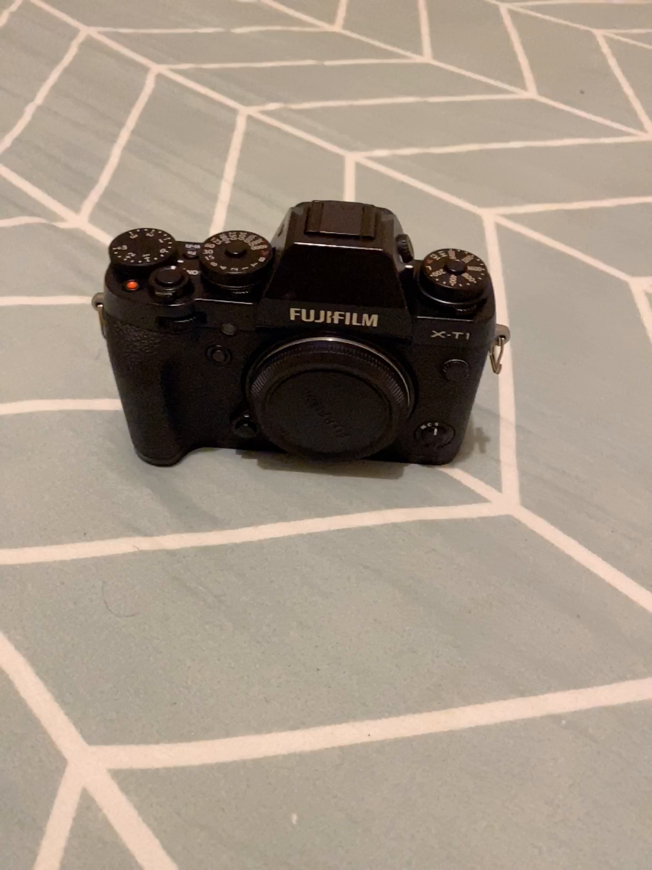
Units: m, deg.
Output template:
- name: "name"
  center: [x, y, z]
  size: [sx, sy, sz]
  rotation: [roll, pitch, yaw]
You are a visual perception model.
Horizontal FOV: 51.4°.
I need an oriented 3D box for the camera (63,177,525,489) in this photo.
- name: "camera"
  center: [-0.009, -0.033, 0.239]
  size: [0.130, 0.087, 0.052]
  rotation: [5, 49, 2]
